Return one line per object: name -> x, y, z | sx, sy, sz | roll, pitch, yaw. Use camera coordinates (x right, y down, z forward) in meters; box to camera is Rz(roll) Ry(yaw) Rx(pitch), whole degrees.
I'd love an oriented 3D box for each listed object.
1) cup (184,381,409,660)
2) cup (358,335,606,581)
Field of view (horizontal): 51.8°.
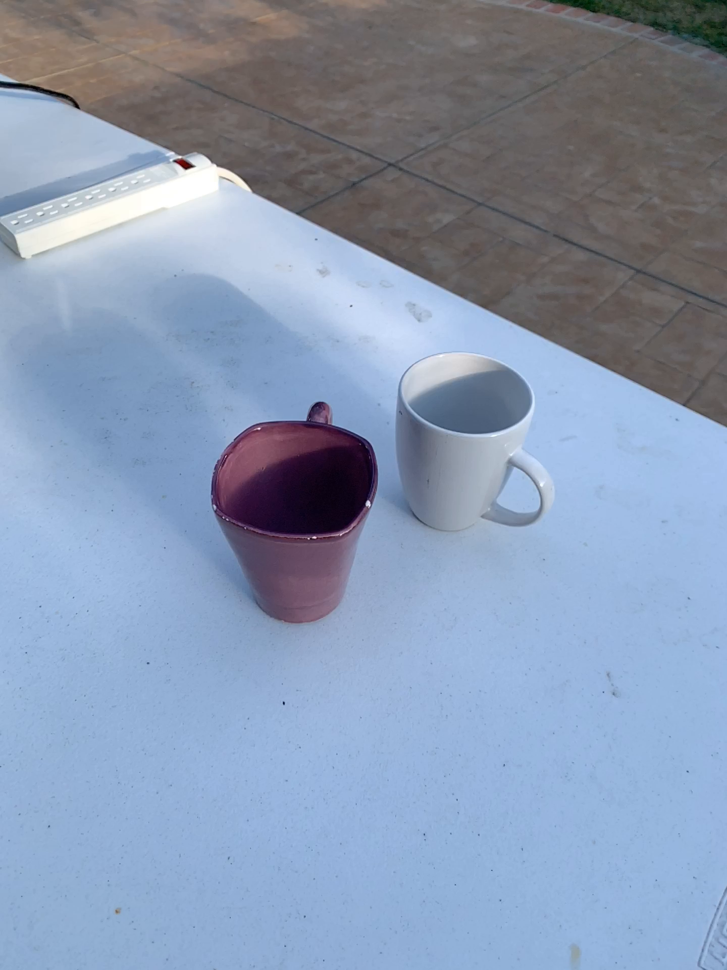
cup -> -0.034, 0.019, 0.463 | 0.100, 0.090, 0.131 | 10, 47, 5
cup -> 0.075, -0.022, 0.509 | 0.100, 0.080, 0.120 | -32, 56, -28
